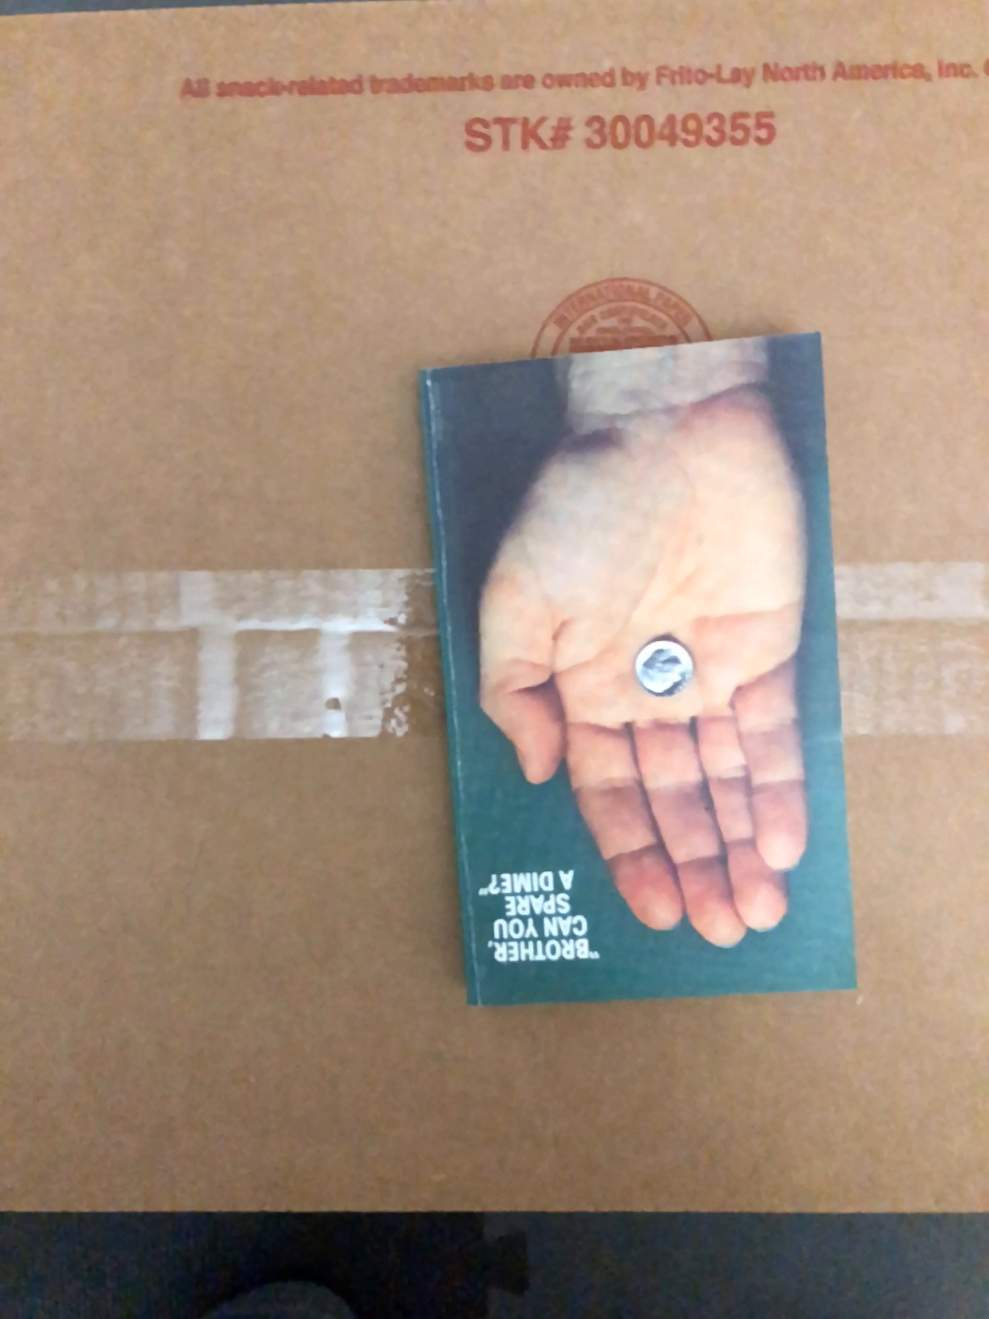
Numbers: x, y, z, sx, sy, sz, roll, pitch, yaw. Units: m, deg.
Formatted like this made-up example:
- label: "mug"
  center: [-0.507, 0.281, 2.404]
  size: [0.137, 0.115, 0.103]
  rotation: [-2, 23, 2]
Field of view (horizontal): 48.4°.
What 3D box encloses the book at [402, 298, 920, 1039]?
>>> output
- label: "book"
  center: [0.043, 0.004, 0.288]
  size: [0.120, 0.020, 0.180]
  rotation: [-4, 94, 2]
